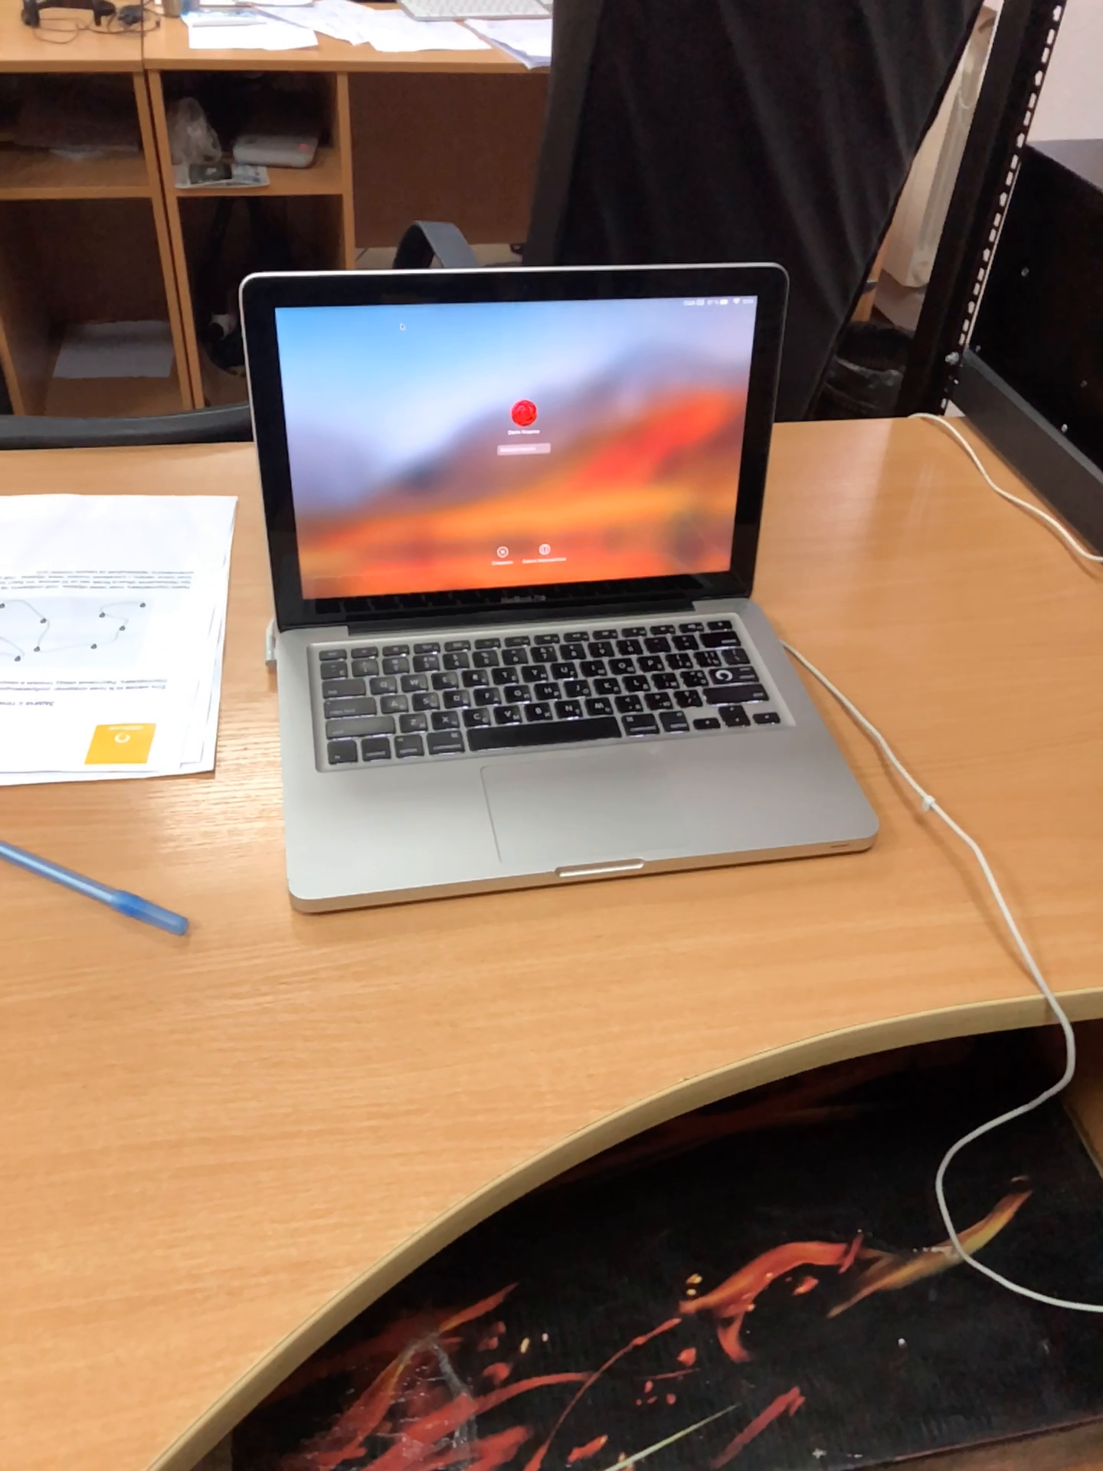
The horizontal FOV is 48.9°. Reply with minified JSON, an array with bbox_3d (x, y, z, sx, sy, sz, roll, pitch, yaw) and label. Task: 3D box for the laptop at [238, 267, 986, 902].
[{"bbox_3d":[0.004,-0.099,0.663,0.315,0.207,0.267,-6,42,-12],"label":"laptop"}]
